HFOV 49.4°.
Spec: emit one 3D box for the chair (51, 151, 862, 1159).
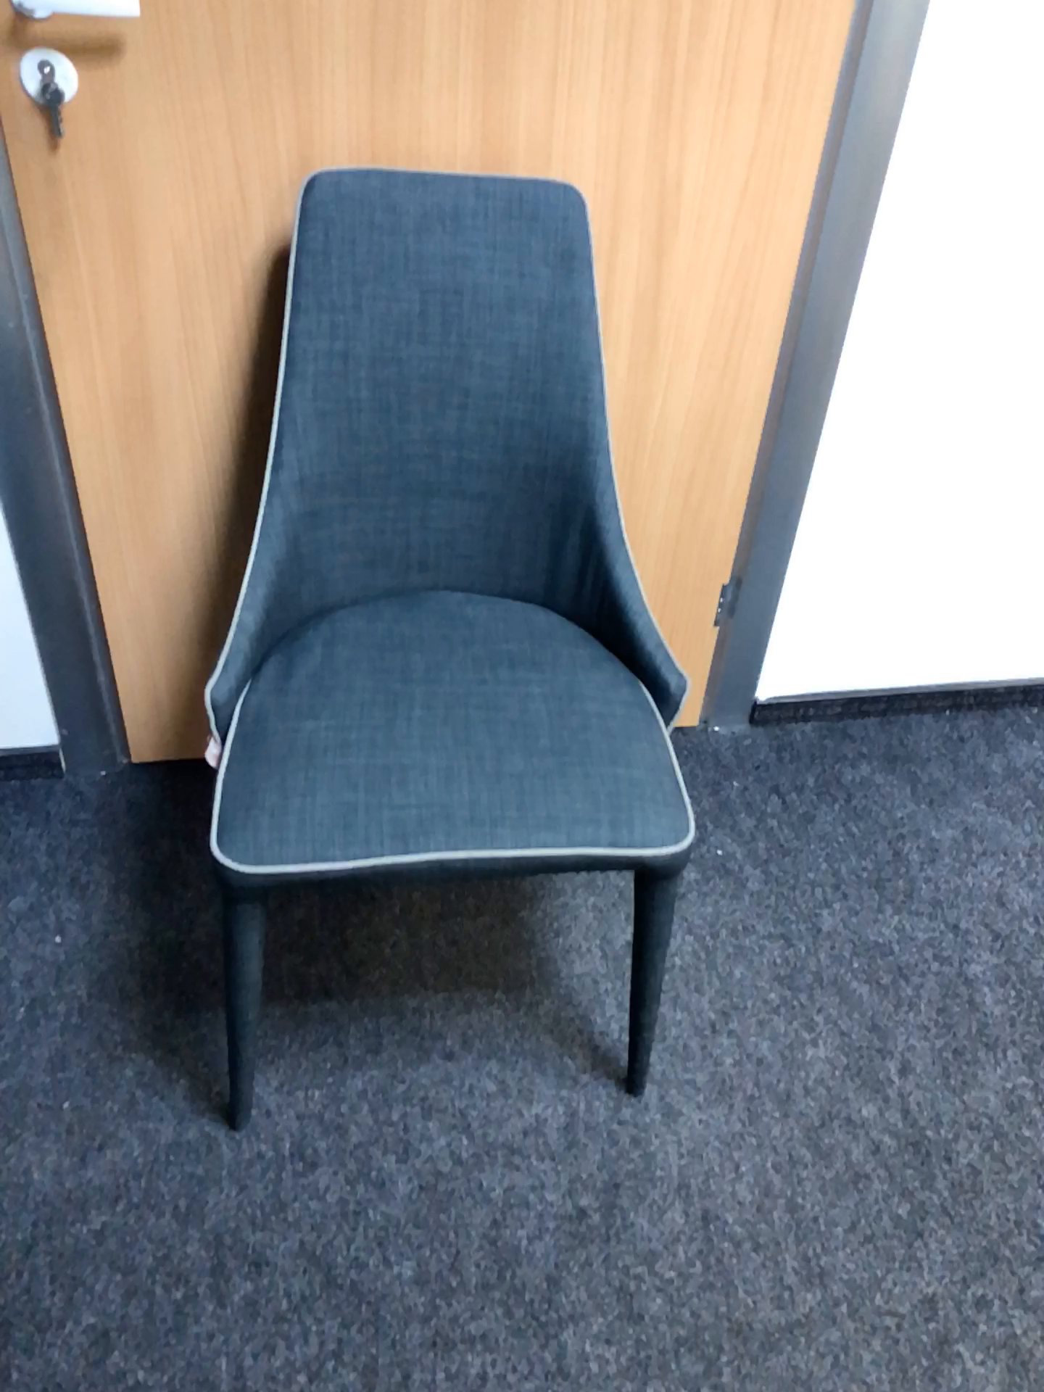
[{"bbox_3d":[-0.098,-0.044,1.236,0.520,0.844,0.644,-2,39,-8],"label":"chair"}]
